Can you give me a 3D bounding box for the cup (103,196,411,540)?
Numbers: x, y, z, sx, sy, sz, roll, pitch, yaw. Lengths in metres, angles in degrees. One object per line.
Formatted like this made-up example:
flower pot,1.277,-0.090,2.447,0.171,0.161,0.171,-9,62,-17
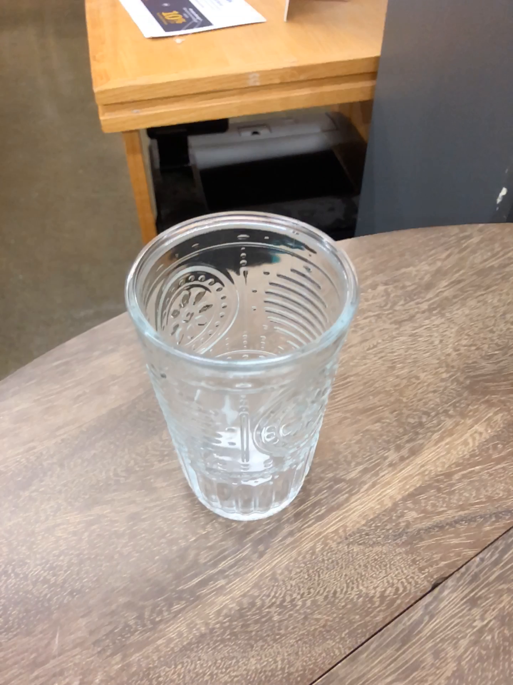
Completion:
cup,-0.001,0.013,0.231,0.088,0.107,0.085,-1,47,1
